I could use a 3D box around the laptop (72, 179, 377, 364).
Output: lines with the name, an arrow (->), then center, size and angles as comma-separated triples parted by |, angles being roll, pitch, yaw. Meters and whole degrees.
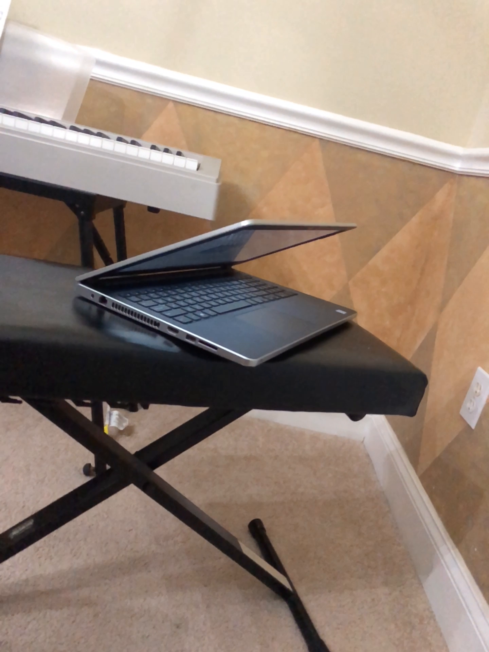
laptop -> -0.001, -0.097, 0.766 | 0.256, 0.132, 0.377 | 23, 19, 23
